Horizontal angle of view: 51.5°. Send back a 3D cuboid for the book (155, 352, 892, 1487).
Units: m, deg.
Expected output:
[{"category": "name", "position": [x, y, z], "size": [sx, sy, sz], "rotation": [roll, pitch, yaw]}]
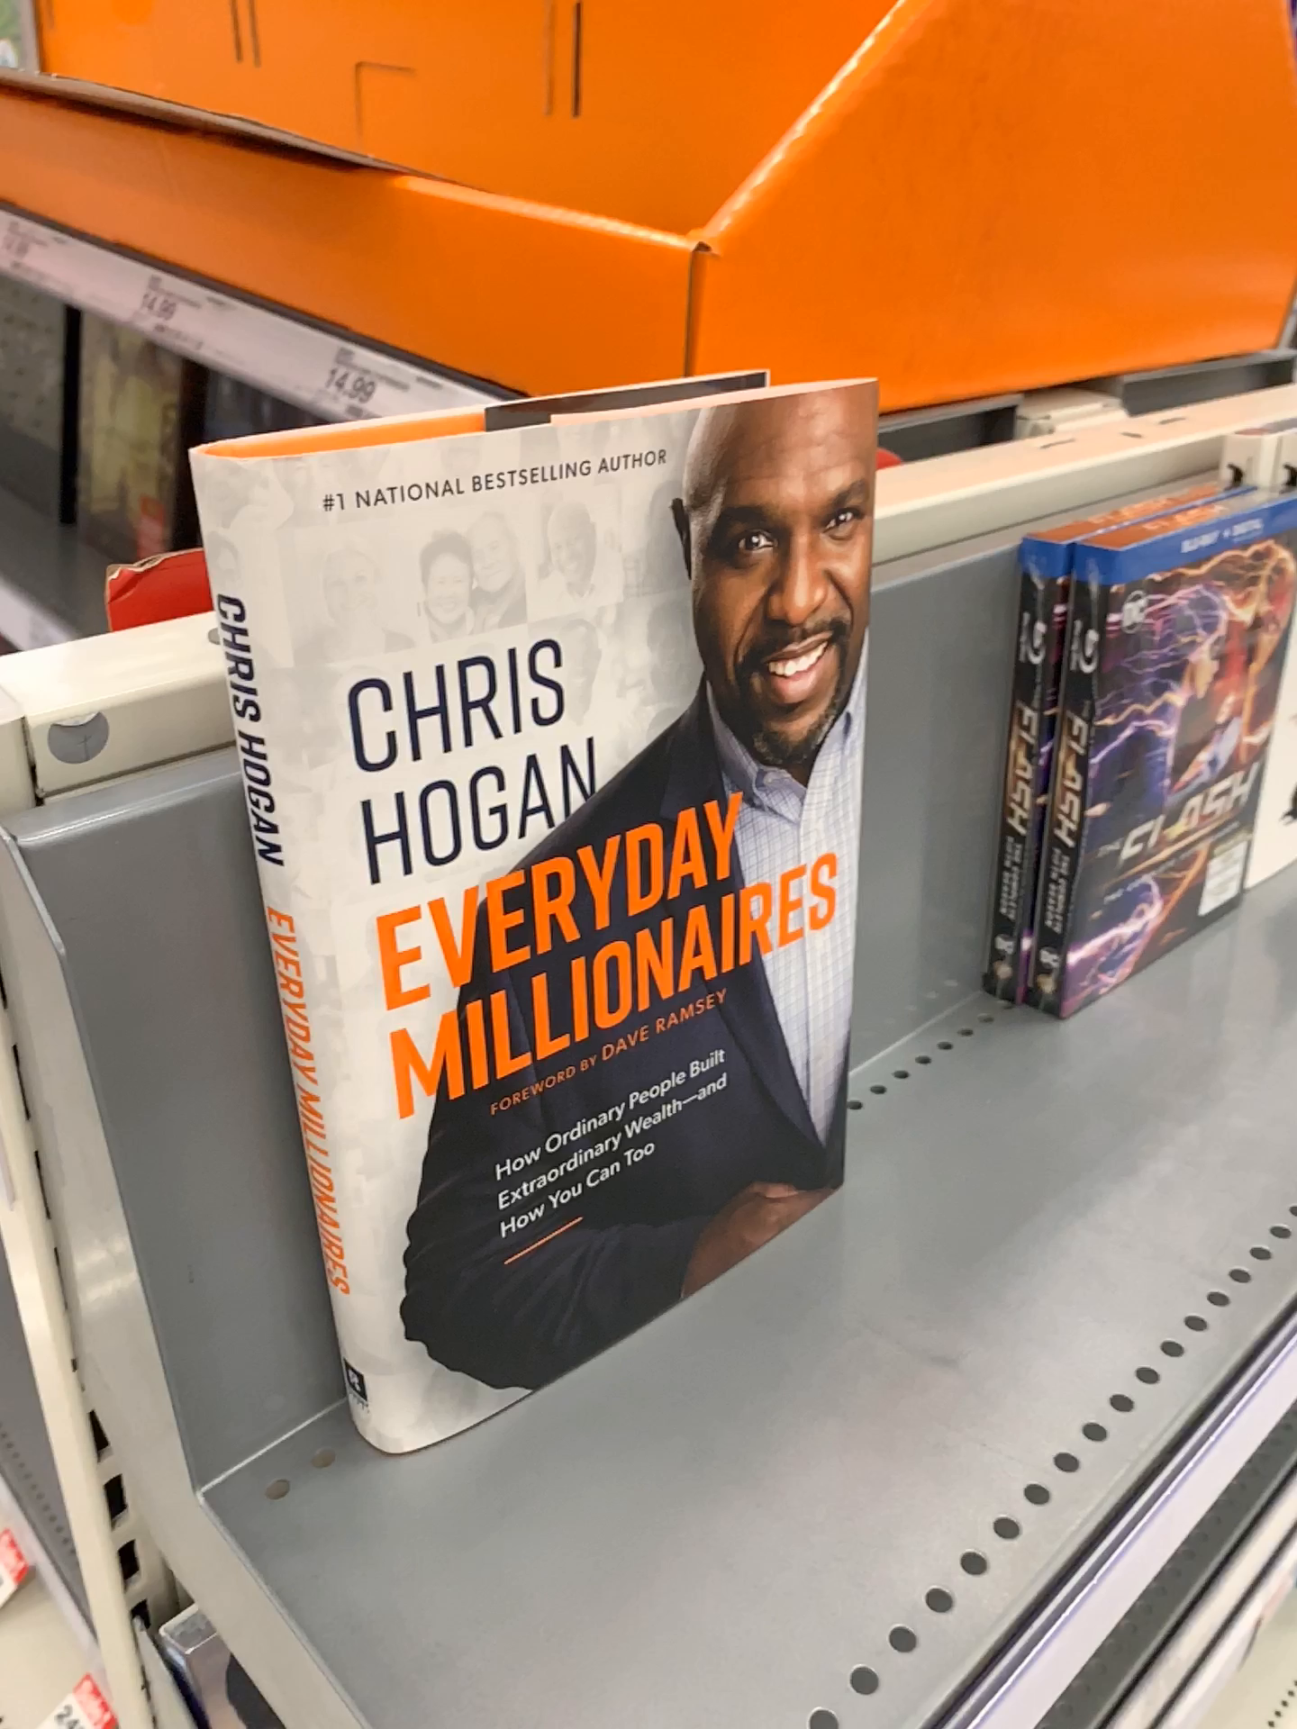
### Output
[{"category": "book", "position": [-0.014, 0.010, 0.329], "size": [0.160, 0.241, 0.037], "rotation": [-21, 31, -35]}]
